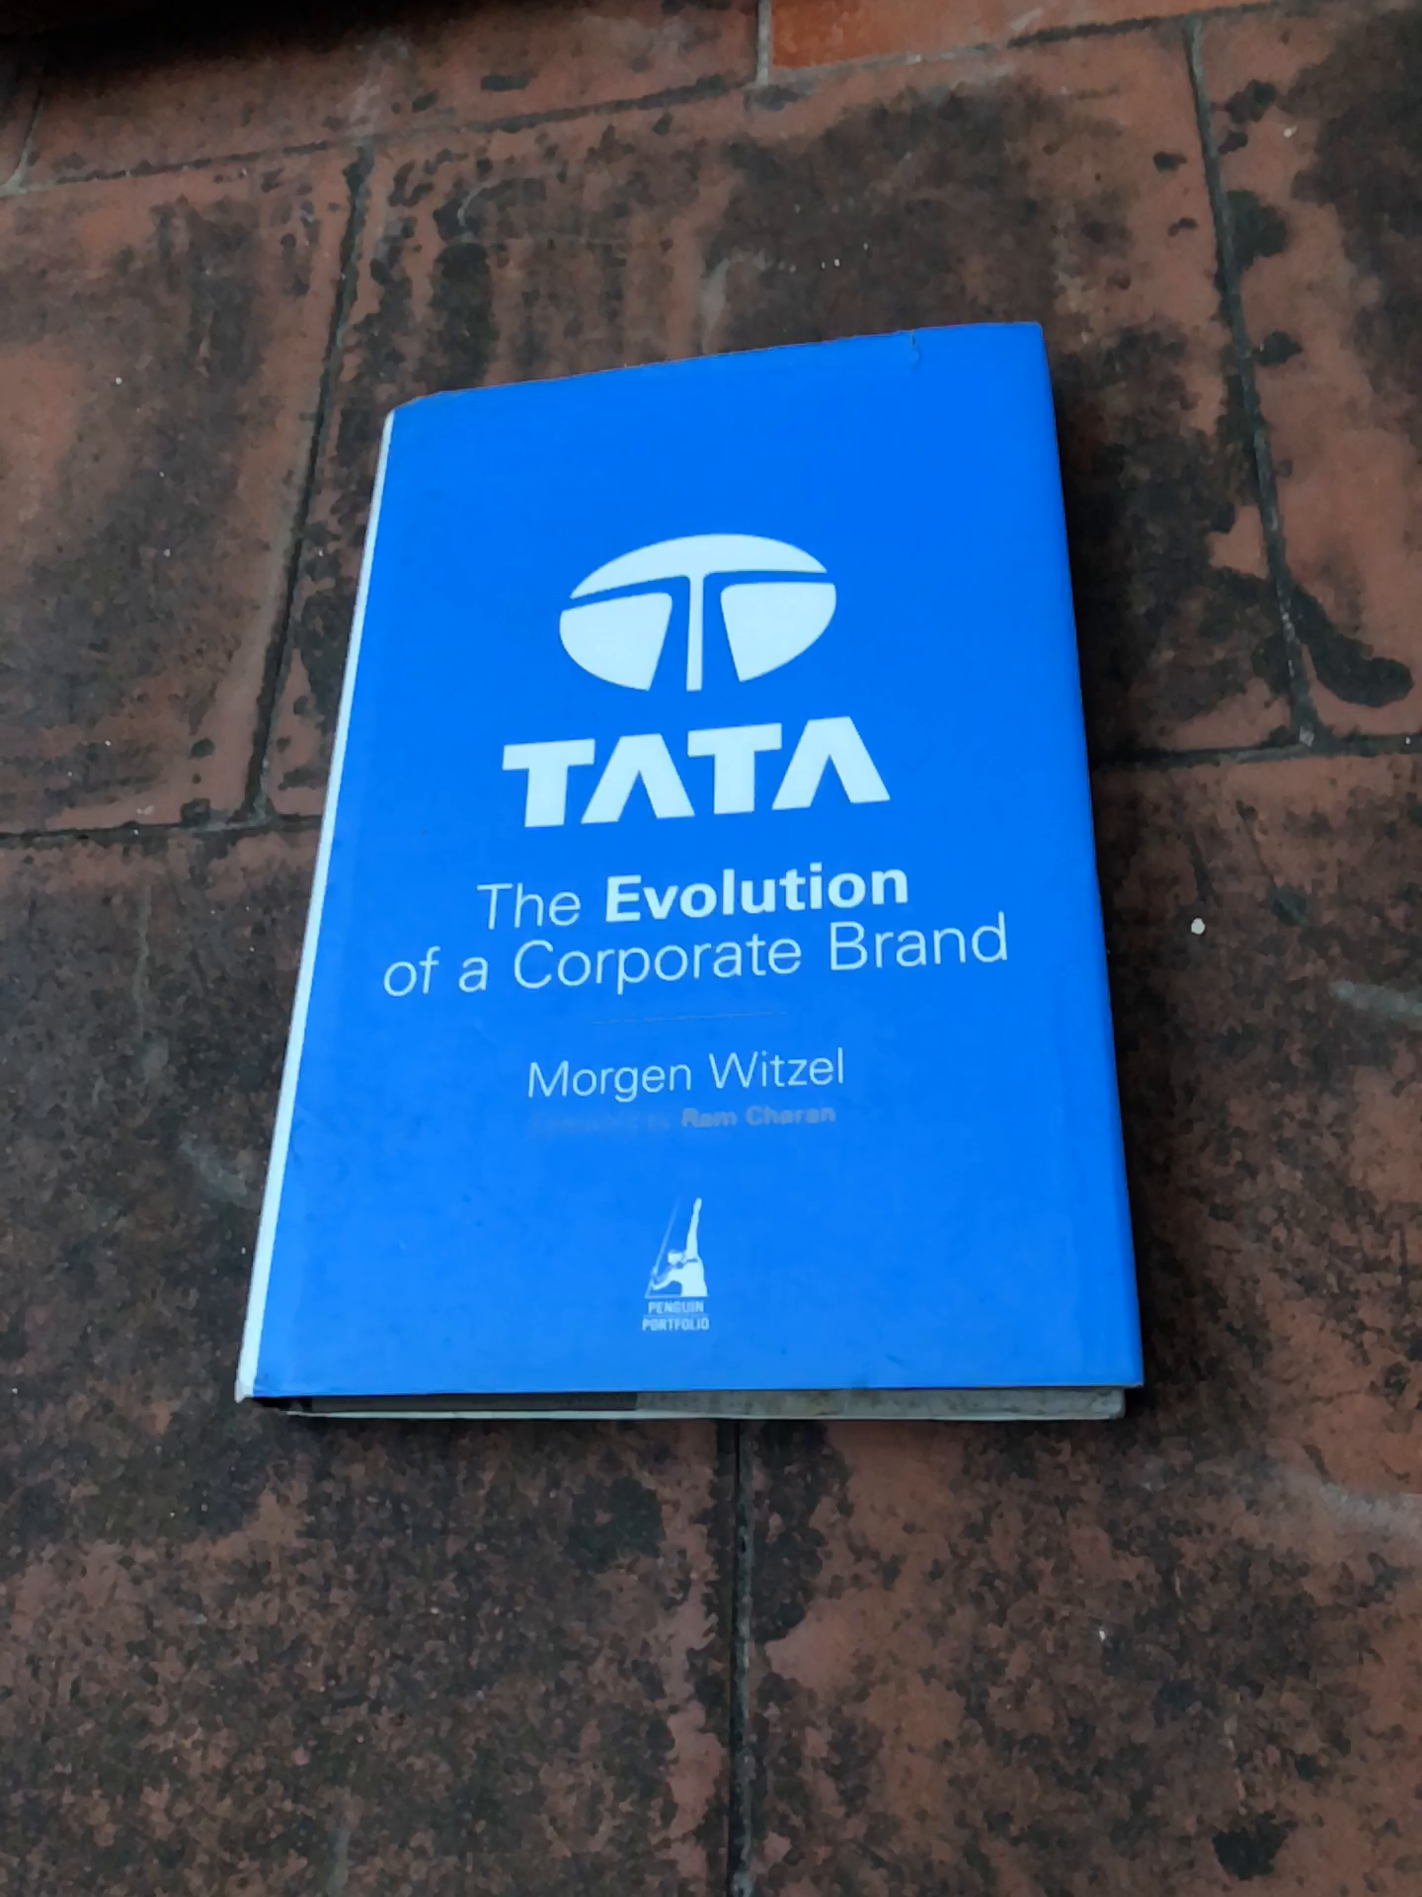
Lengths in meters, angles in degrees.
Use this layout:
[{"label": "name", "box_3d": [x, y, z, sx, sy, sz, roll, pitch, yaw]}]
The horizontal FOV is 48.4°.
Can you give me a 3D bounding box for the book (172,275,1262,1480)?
[{"label": "book", "box_3d": [0.003, -0.023, 0.315, 0.170, 0.040, 0.240, -3, 63, 9]}]
